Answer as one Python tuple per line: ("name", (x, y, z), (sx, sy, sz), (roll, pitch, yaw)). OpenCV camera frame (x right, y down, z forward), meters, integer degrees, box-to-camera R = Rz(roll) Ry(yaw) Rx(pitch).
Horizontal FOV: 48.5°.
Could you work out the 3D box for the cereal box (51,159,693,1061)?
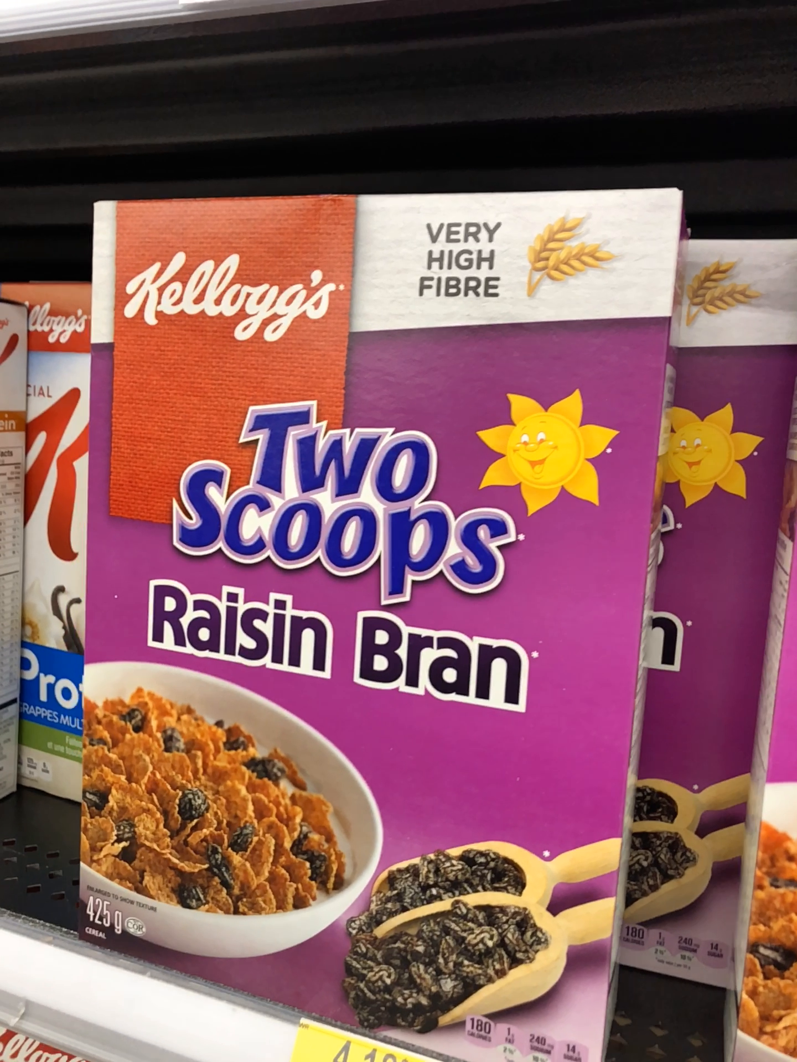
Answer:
("cereal box", (-0.019, 0.024, 0.301), (0.200, 0.269, 0.050), (6, 8, 19))
